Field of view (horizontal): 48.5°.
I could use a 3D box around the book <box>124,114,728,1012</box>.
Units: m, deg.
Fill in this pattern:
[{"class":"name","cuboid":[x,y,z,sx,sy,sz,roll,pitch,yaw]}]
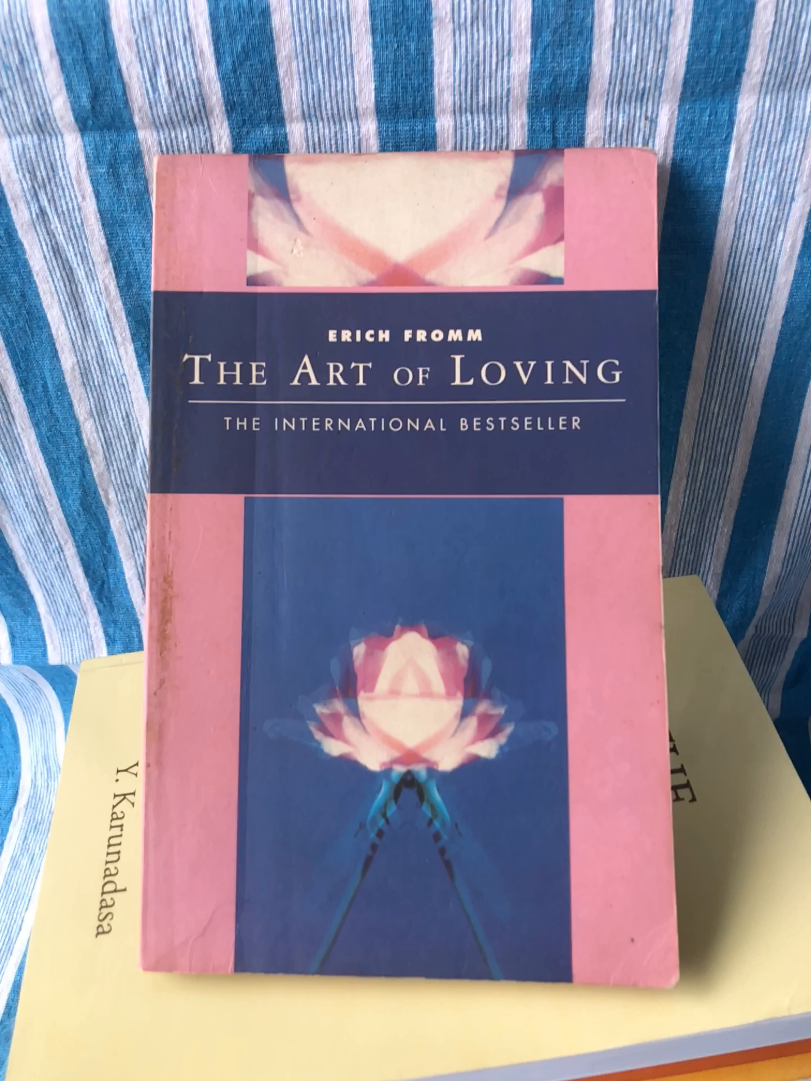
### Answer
[{"class":"book","cuboid":[0.002,0.003,0.205,0.129,0.015,0.193,-1,87,5]}]
